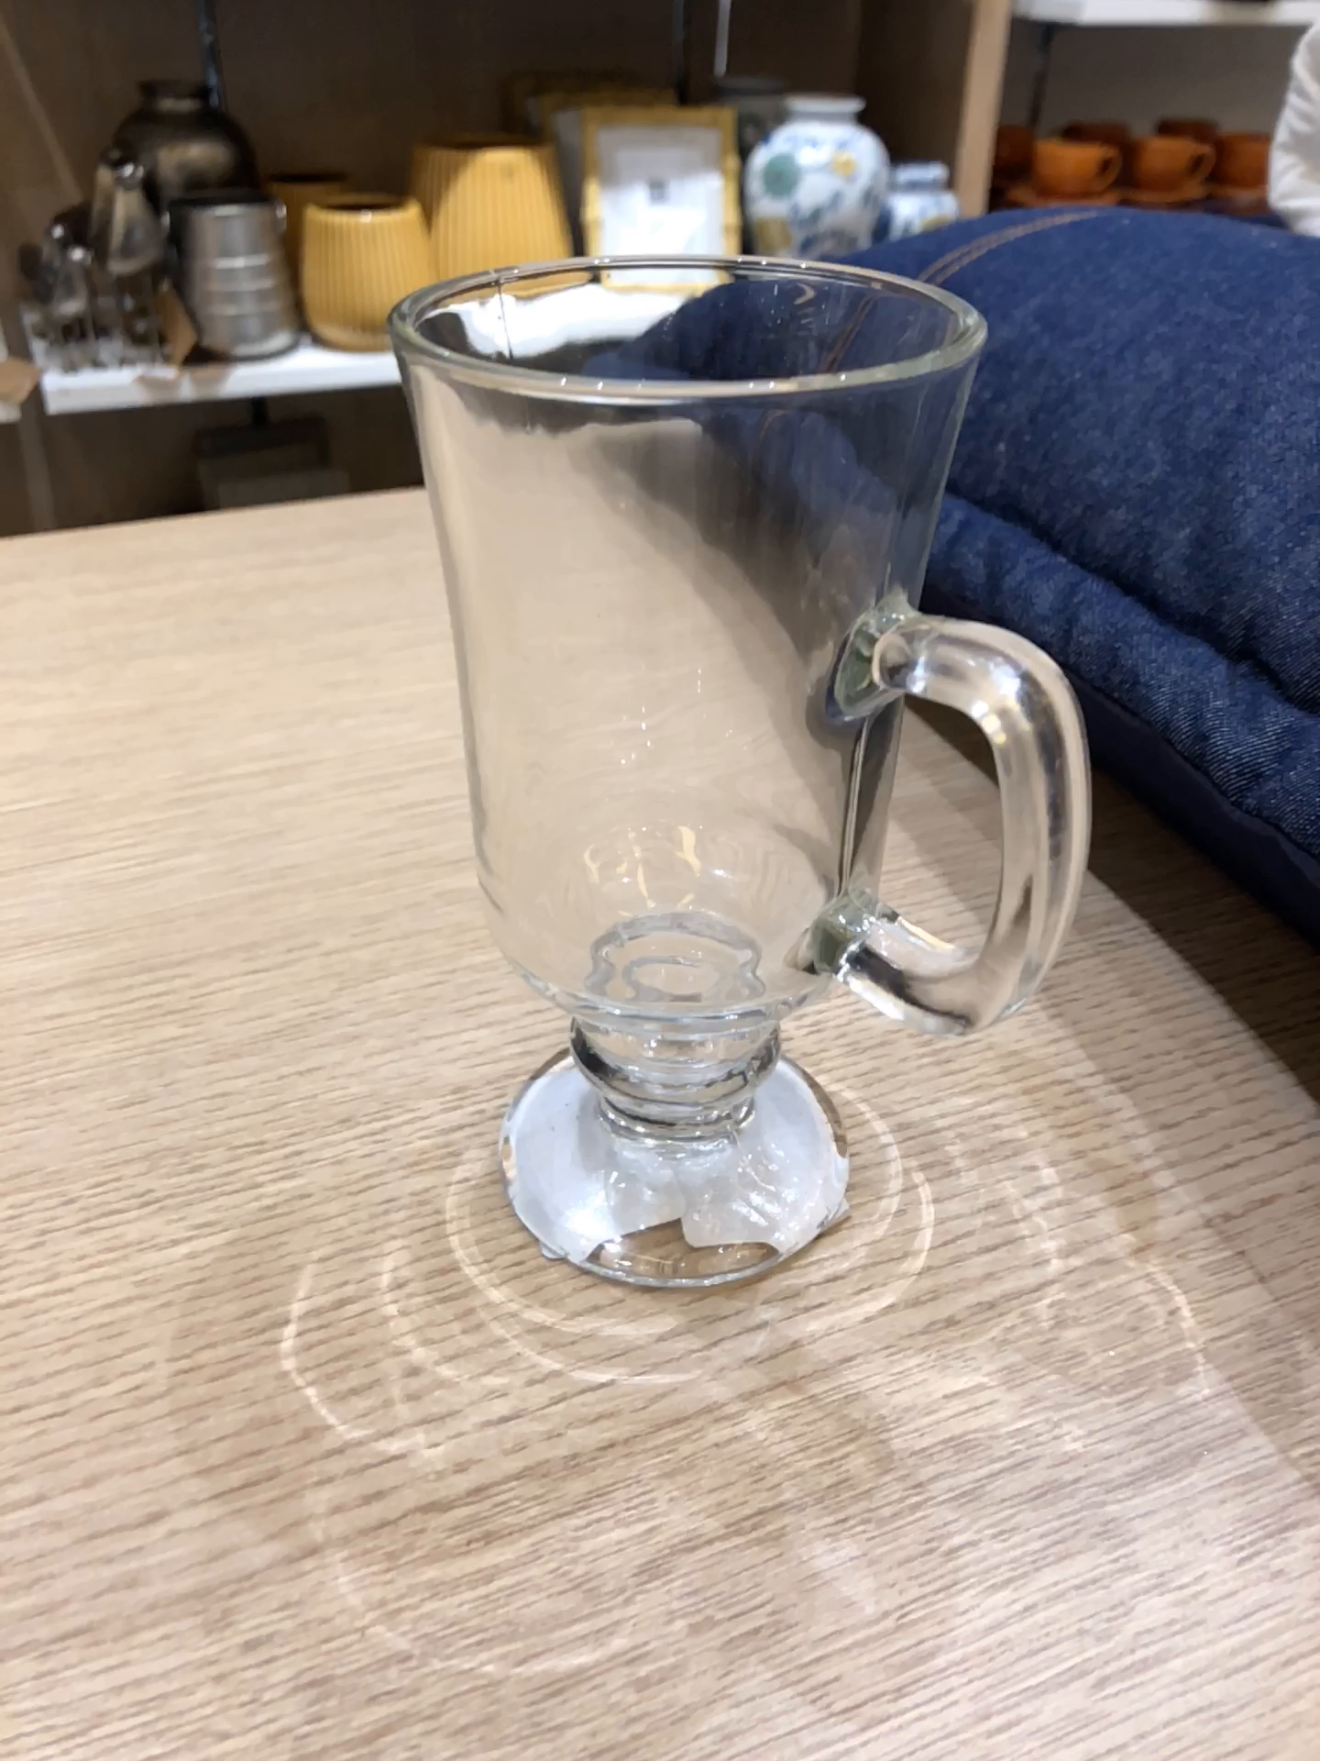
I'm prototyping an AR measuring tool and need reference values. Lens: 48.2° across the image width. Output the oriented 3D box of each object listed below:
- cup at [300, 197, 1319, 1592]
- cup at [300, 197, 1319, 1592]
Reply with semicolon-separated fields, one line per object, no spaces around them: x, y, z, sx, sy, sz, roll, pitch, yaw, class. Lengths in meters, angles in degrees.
0.017;-0.007;0.214;0.090;0.149;0.111;-16;37;-23;cup
0.017;-0.007;0.214;0.090;0.149;0.111;-16;37;-23;cup
